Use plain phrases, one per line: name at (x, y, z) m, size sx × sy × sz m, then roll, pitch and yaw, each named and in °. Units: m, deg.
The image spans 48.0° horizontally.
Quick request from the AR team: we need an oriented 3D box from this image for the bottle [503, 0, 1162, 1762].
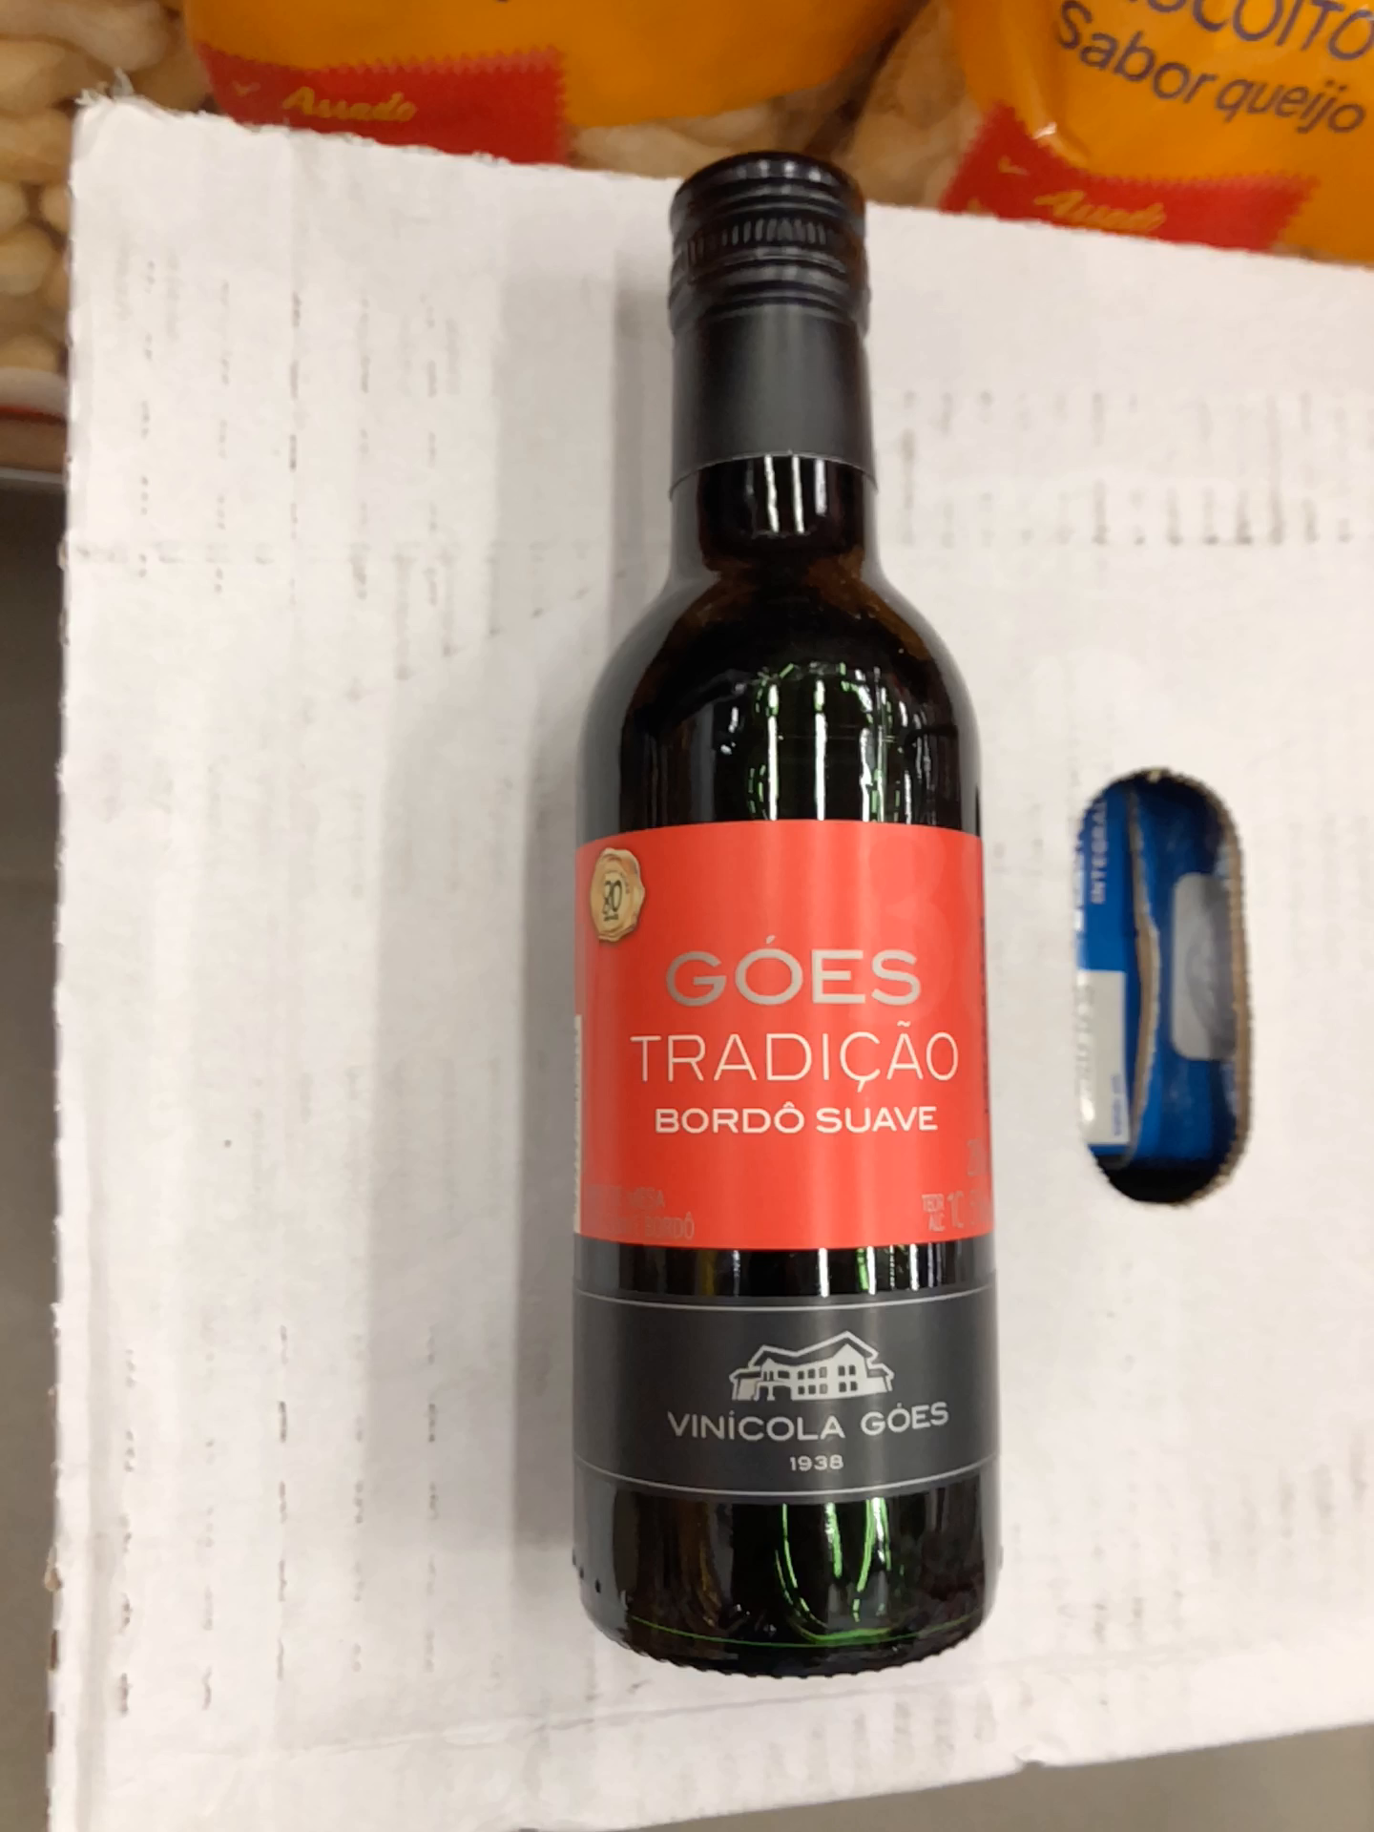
bottle at (0.013, -0.017, 0.198) m, size 0.060 × 0.050 × 0.210 m, roll -2°, pitch 84°, yaw -12°
